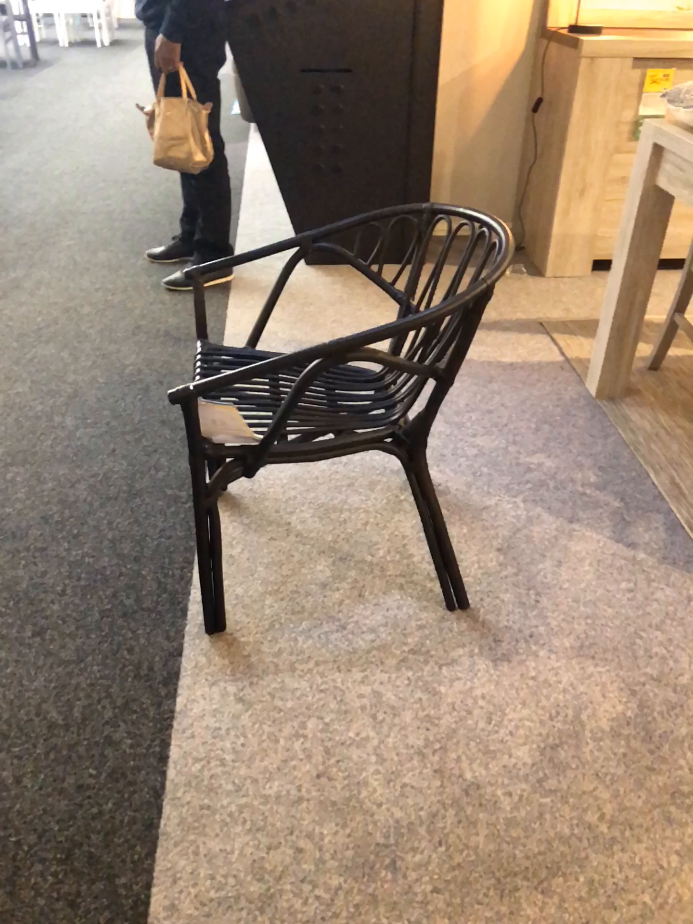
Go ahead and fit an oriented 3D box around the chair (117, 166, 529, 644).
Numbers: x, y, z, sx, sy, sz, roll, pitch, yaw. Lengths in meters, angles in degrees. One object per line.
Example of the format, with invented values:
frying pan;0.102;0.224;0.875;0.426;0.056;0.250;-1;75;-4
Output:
chair;-0.048;-0.121;1.449;0.560;0.736;0.533;-1;33;-3
